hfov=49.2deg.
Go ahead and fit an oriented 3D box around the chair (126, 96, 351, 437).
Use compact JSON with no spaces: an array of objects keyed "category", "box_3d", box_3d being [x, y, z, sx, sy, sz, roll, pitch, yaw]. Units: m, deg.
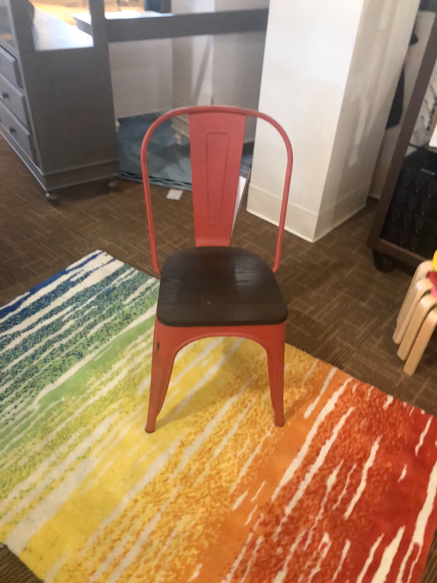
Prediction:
[{"category":"chair","box_3d":[-0.001,-0.048,1.400,0.450,0.855,0.493,0,38,-6]}]
